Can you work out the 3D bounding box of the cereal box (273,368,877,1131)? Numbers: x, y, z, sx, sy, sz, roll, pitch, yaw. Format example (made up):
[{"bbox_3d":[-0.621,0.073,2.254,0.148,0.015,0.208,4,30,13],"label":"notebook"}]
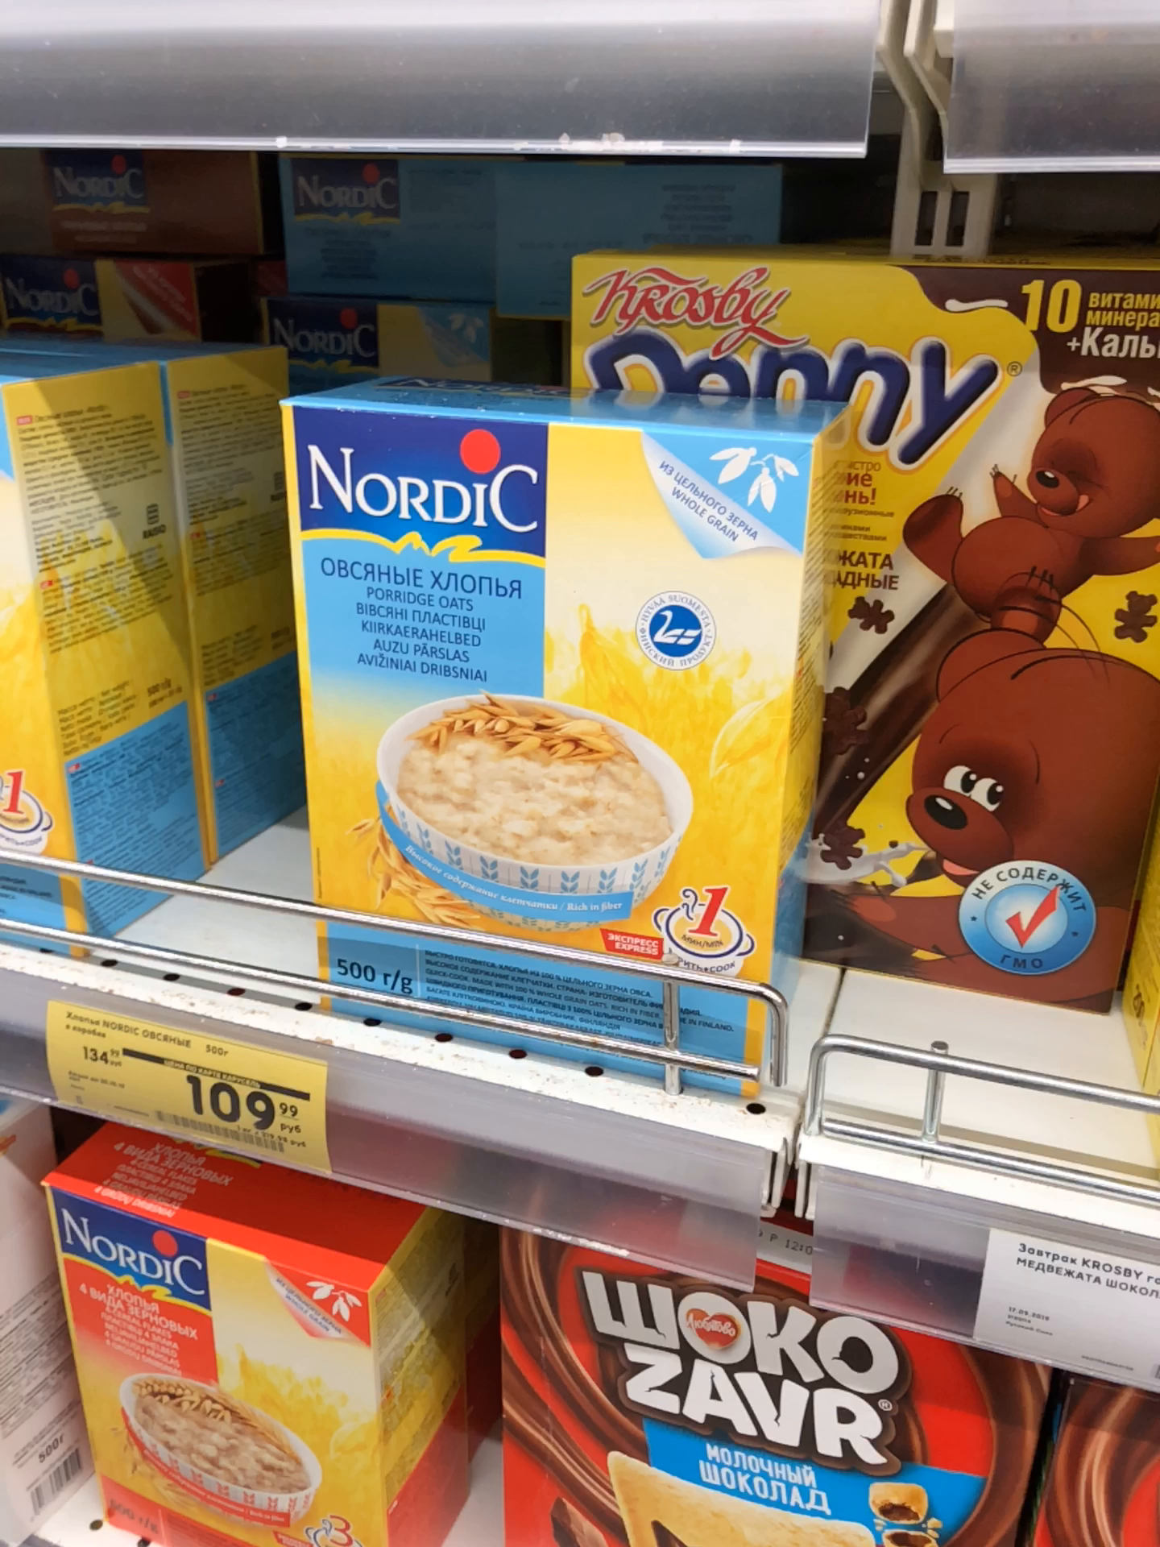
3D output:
[{"bbox_3d":[-0.001,-0.011,0.389,0.150,0.199,0.070,9,24,17],"label":"cereal box"}]
